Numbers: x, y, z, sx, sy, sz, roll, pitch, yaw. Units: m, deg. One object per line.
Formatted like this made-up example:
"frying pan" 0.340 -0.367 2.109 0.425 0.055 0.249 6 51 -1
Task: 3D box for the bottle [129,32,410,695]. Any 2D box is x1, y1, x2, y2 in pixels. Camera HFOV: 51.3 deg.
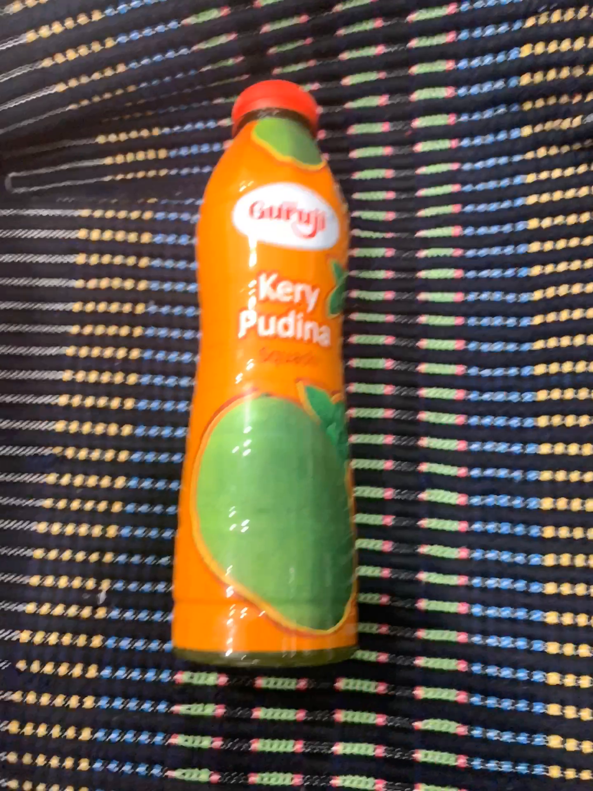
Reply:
"bottle" -0.007 -0.014 0.250 0.070 0.070 0.230 16 68 -40
